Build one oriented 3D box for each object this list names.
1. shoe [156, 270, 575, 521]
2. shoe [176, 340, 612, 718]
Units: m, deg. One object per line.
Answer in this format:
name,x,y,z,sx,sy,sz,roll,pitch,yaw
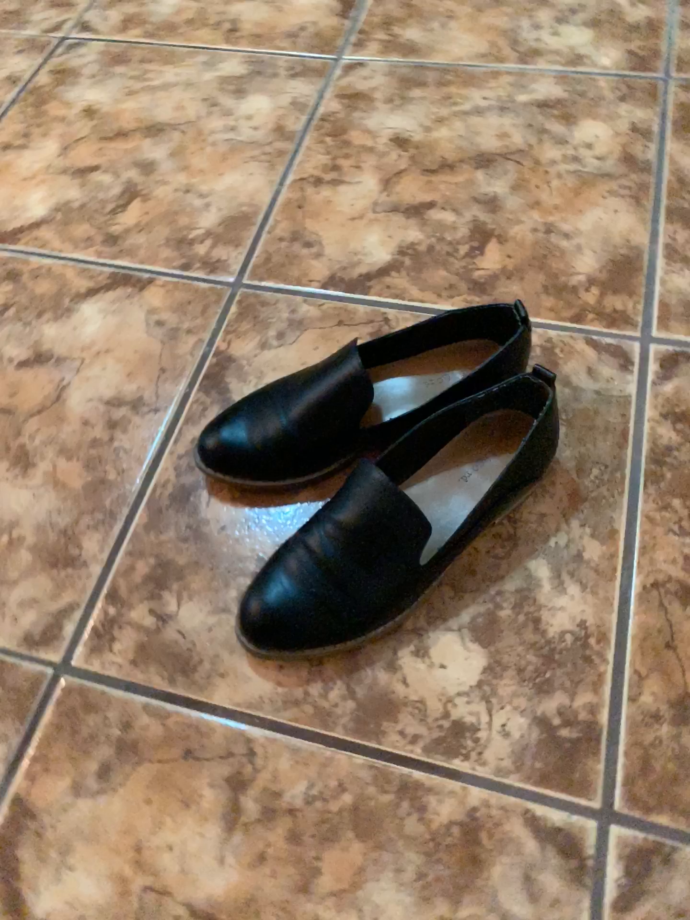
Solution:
shoe,0.012,-0.044,0.480,0.255,0.070,0.086,-15,59,-3
shoe,0.035,0.037,0.440,0.255,0.070,0.088,-34,62,-14
